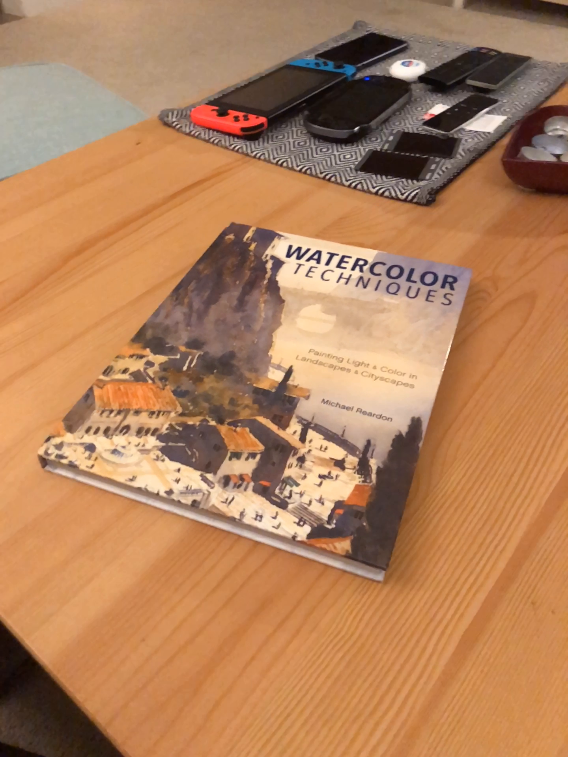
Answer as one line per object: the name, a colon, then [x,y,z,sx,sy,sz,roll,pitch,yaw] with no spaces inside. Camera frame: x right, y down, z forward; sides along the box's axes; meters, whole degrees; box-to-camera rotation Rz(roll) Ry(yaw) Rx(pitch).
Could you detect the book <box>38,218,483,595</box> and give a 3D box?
book: [0.007,-0.015,0.431,0.213,0.020,0.280,14,47,15]
